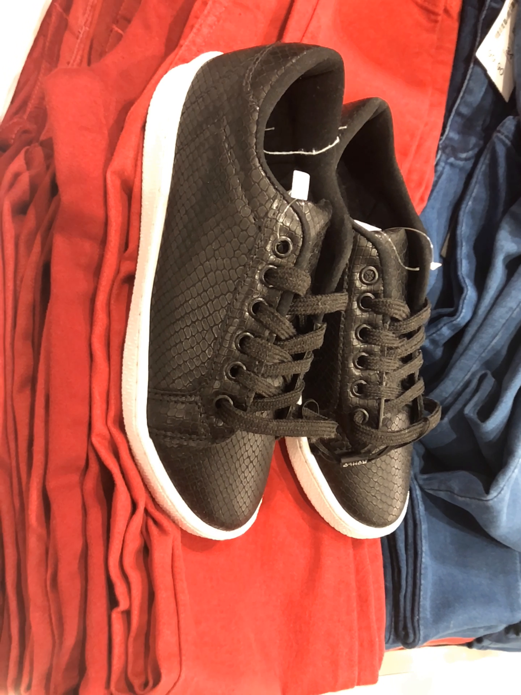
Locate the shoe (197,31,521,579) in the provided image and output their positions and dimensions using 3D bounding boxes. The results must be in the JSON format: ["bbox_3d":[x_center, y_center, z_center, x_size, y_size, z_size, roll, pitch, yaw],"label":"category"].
[{"bbox_3d":[0.055,-0.018,0.323,0.091,0.099,0.250,-8,83,-42],"label":"shoe"}]

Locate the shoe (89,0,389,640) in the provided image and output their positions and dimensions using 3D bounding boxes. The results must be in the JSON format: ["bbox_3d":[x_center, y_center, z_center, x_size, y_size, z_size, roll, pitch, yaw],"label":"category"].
[{"bbox_3d":[-0.011,-0.026,0.265,0.091,0.099,0.250,0,91,-46],"label":"shoe"}]
